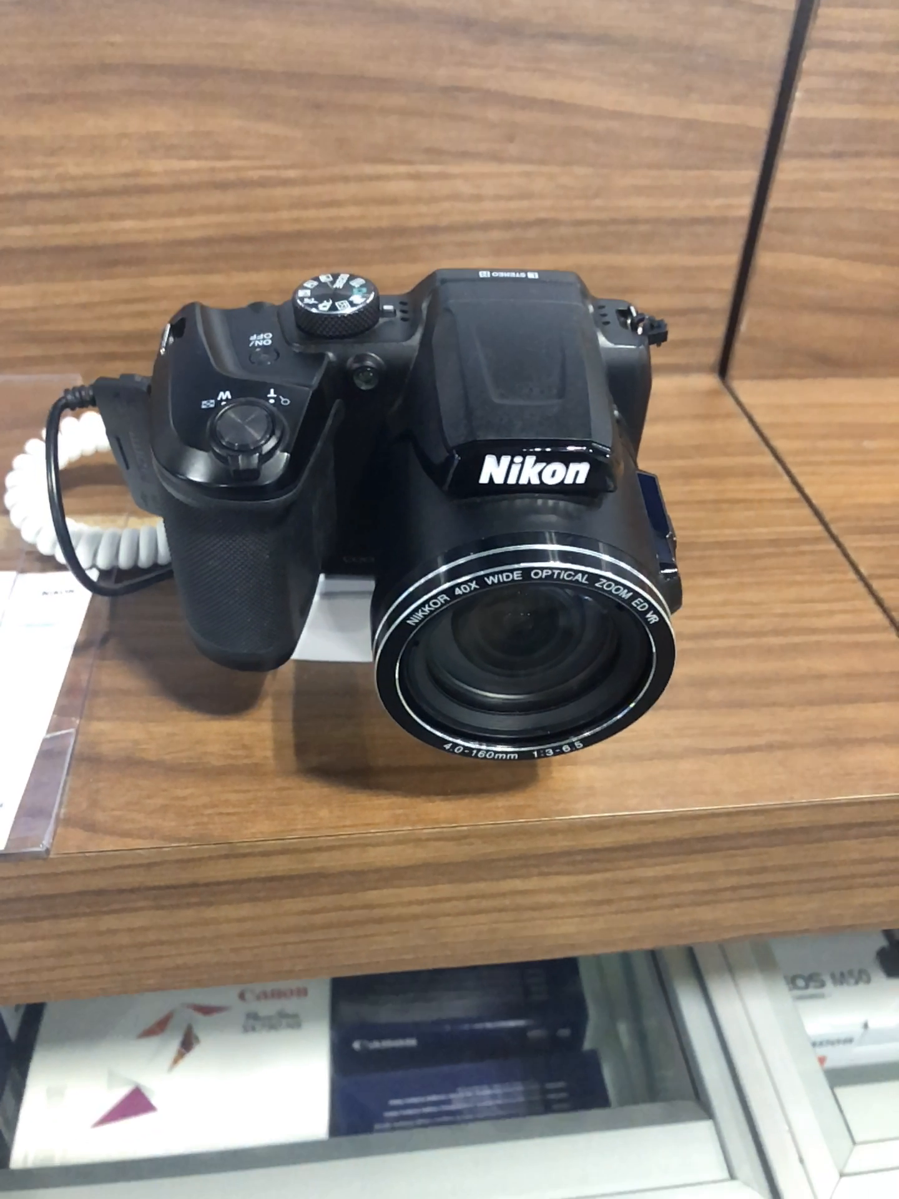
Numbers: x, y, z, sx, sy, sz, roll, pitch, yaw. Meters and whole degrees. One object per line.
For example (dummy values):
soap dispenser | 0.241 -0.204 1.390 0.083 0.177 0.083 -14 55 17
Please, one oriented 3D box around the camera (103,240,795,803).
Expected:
camera | -0.005 -0.022 0.219 0.110 0.079 0.096 -2 38 -7
